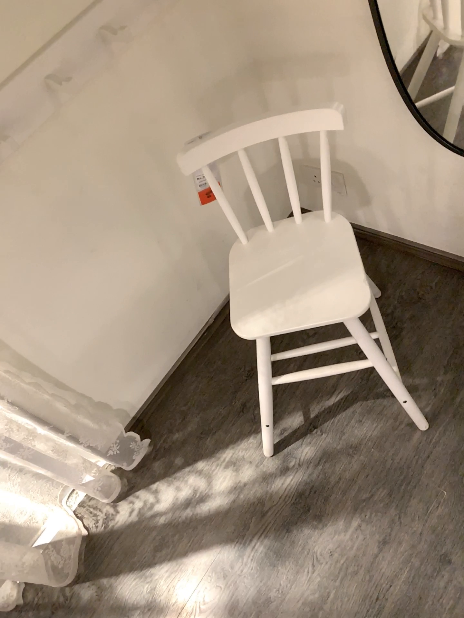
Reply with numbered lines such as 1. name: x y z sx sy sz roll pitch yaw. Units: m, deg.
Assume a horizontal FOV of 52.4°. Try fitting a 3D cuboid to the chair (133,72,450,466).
1. chair: 0.150 -0.019 1.050 0.450 0.658 0.481 -15 54 12
